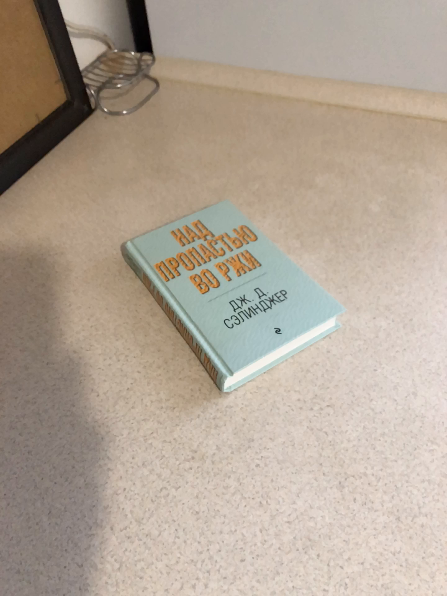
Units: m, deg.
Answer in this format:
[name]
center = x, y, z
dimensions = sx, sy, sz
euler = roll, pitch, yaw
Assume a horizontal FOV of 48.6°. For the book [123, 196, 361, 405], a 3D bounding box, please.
[book]
center = 0.008, -0.012, 0.415
dimensions = 0.118, 0.020, 0.181
euler = -26, 52, -18
